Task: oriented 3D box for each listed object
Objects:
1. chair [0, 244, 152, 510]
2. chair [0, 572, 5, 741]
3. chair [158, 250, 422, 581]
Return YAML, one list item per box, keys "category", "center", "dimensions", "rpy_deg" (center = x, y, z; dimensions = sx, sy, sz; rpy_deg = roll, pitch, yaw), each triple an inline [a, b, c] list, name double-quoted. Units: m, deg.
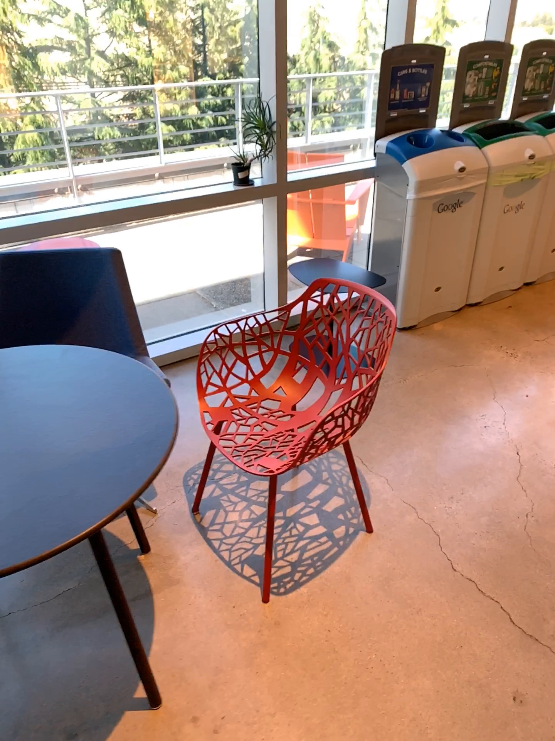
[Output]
- category: "chair"
  center: [-0.806, 0.015, 2.029]
  dimensions: [0.560, 0.765, 0.513]
  rpy_deg: [-3, 31, -3]
- category: "chair"
  center: [-0.847, 0.821, 0.713]
  dimensions: [0.562, 0.765, 0.532]
  rpy_deg: [18, 36, 28]
- category: "chair"
  center: [0.027, 0.109, 1.864]
  dimensions: [0.561, 0.765, 0.553]
  rpy_deg: [-20, 36, -29]
